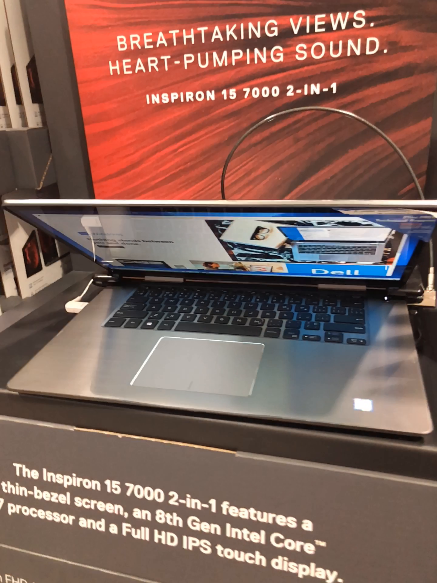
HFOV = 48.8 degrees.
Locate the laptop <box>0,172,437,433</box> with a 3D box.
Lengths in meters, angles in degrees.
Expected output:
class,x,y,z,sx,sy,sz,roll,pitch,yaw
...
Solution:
class,x,y,z,sx,sy,sz,roll,pitch,yaw
laptop,0.003,-0.018,0.461,0.355,0.137,0.212,3,25,16
